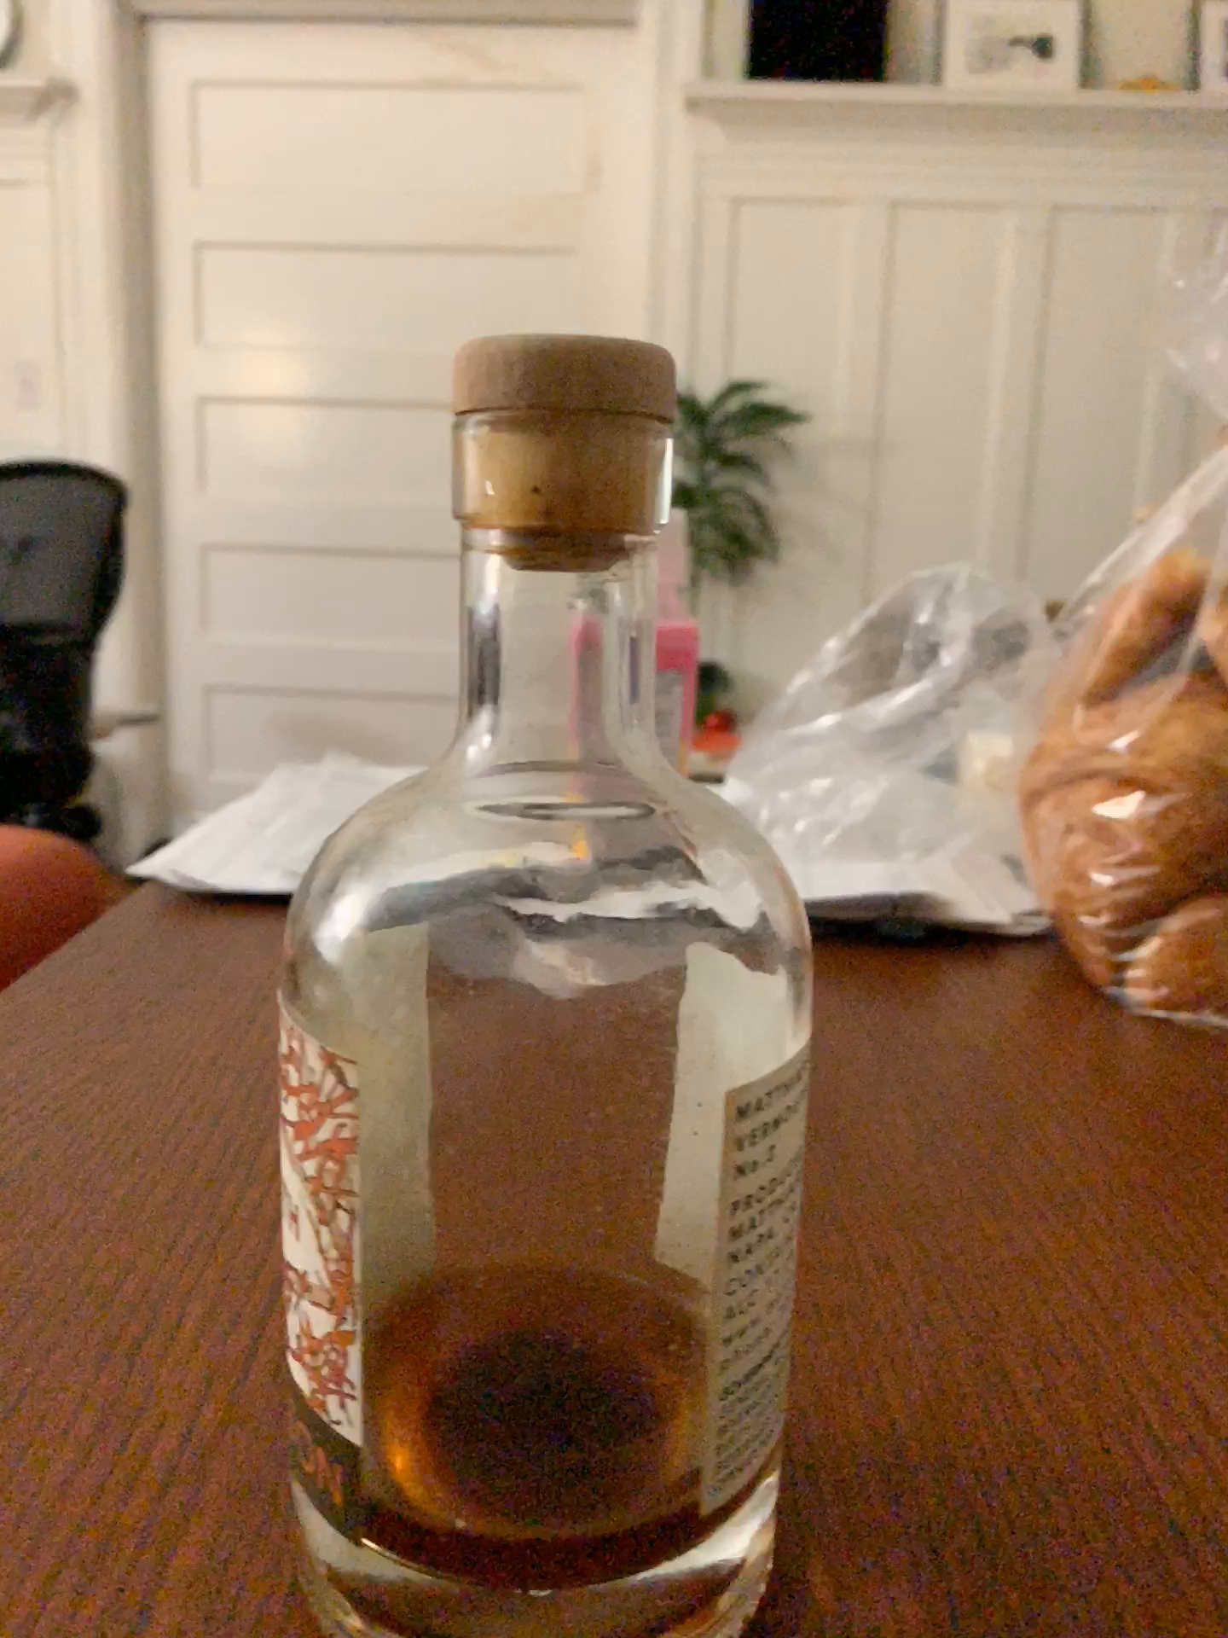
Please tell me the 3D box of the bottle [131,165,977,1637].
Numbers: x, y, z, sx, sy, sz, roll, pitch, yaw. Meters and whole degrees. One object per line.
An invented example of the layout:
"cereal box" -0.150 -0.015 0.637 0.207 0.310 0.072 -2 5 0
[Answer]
"bottle" -0.010 0.023 0.185 0.080 0.189 0.090 2 12 -2
